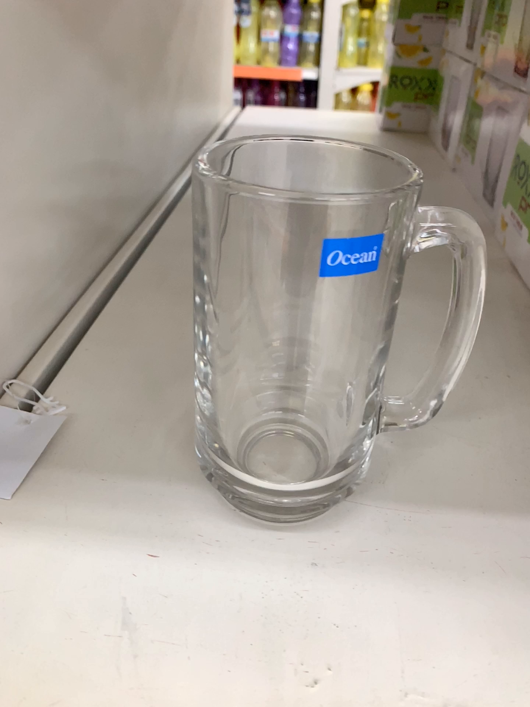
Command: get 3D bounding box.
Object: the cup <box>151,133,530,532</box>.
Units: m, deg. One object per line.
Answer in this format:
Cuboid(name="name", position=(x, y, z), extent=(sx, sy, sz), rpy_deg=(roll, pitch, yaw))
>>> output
Cuboid(name="cup", position=(0.027, -0.007, 0.215), extent=(0.120, 0.129, 0.081), rpy_deg=(0, 33, -3))
